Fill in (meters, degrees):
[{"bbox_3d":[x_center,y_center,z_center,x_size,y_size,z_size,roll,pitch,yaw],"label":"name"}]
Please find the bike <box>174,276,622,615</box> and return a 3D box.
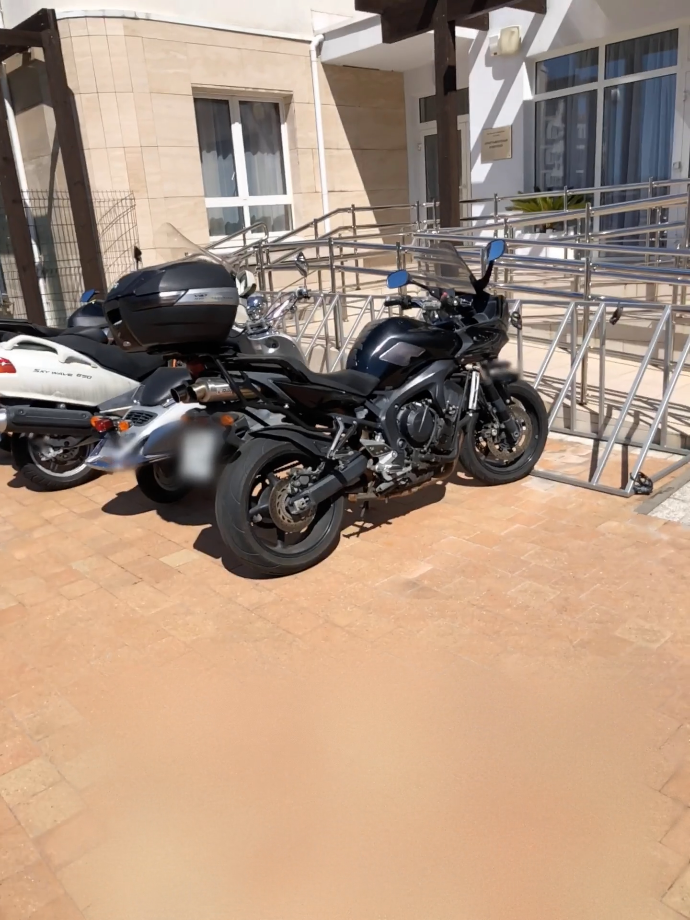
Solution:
[{"bbox_3d":[0.375,-0.195,3.352,1.922,1.003,0.606,-18,21,-37],"label":"bike"}]
